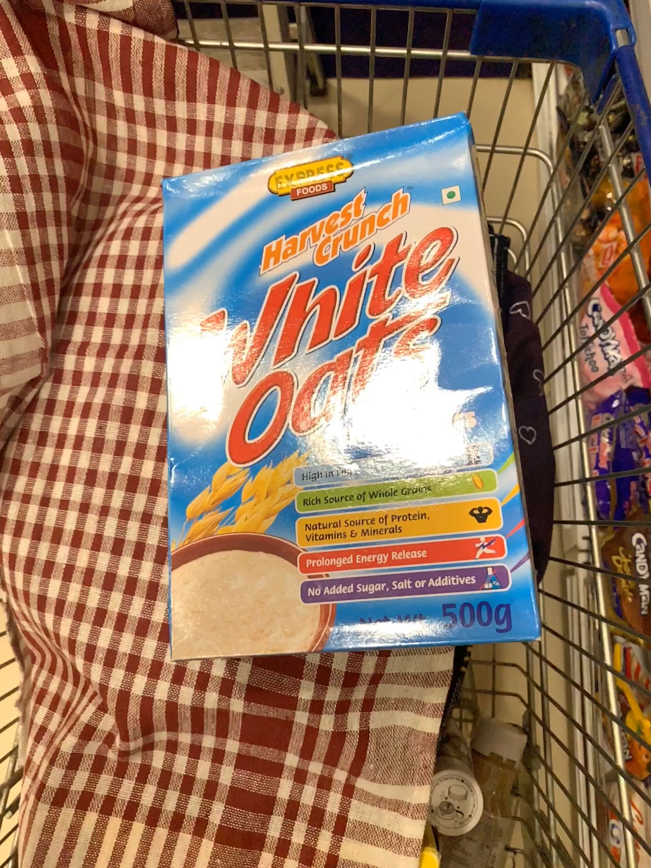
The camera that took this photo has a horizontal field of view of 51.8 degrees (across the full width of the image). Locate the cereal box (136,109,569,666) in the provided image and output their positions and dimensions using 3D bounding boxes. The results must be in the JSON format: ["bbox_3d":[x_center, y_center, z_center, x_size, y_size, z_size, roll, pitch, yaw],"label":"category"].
[{"bbox_3d":[0.004,-0.015,0.282,0.150,0.060,0.200,-7,76,11],"label":"cereal box"}]
